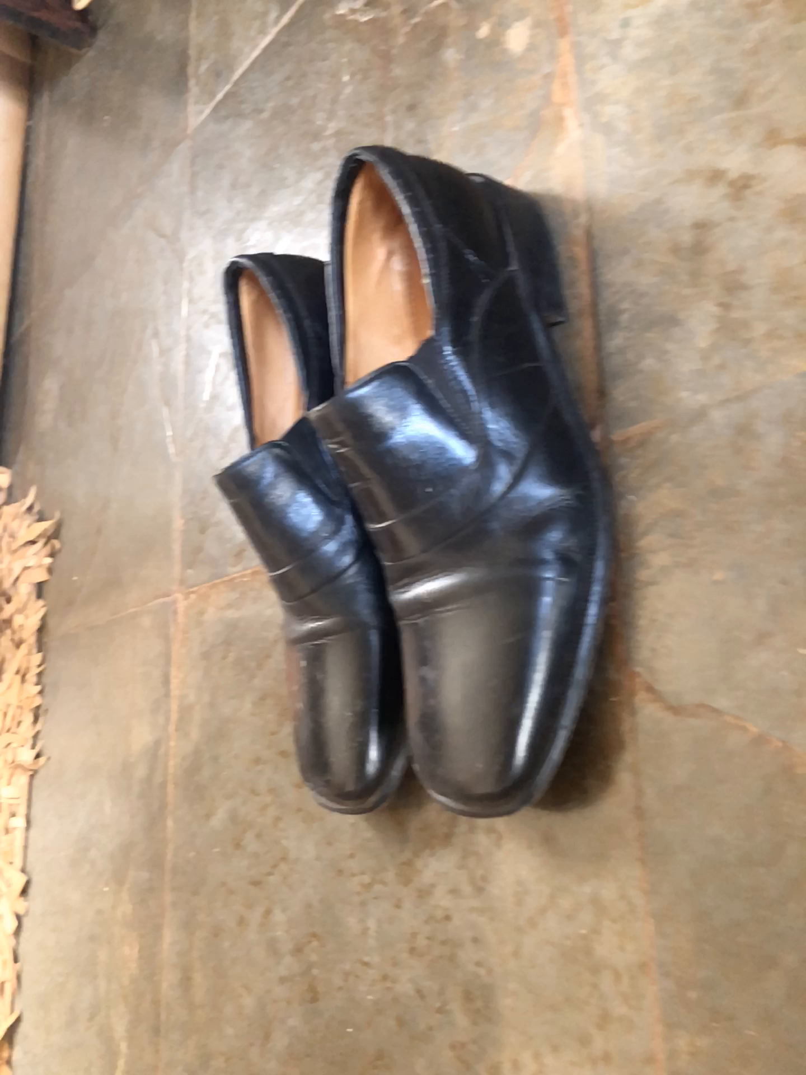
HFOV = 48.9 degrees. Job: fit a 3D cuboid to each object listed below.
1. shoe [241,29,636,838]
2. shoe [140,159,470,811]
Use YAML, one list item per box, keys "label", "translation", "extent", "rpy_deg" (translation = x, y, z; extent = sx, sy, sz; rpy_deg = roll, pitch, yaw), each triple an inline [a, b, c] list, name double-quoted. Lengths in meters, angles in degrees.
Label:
- label: "shoe"
  translation: [0.012, -0.033, 0.364]
  extent: [0.100, 0.110, 0.280]
  rpy_deg: [-15, 71, 49]
- label: "shoe"
  translation: [-0.048, -0.016, 0.443]
  extent: [0.110, 0.110, 0.280]
  rpy_deg: [-16, 70, 49]
